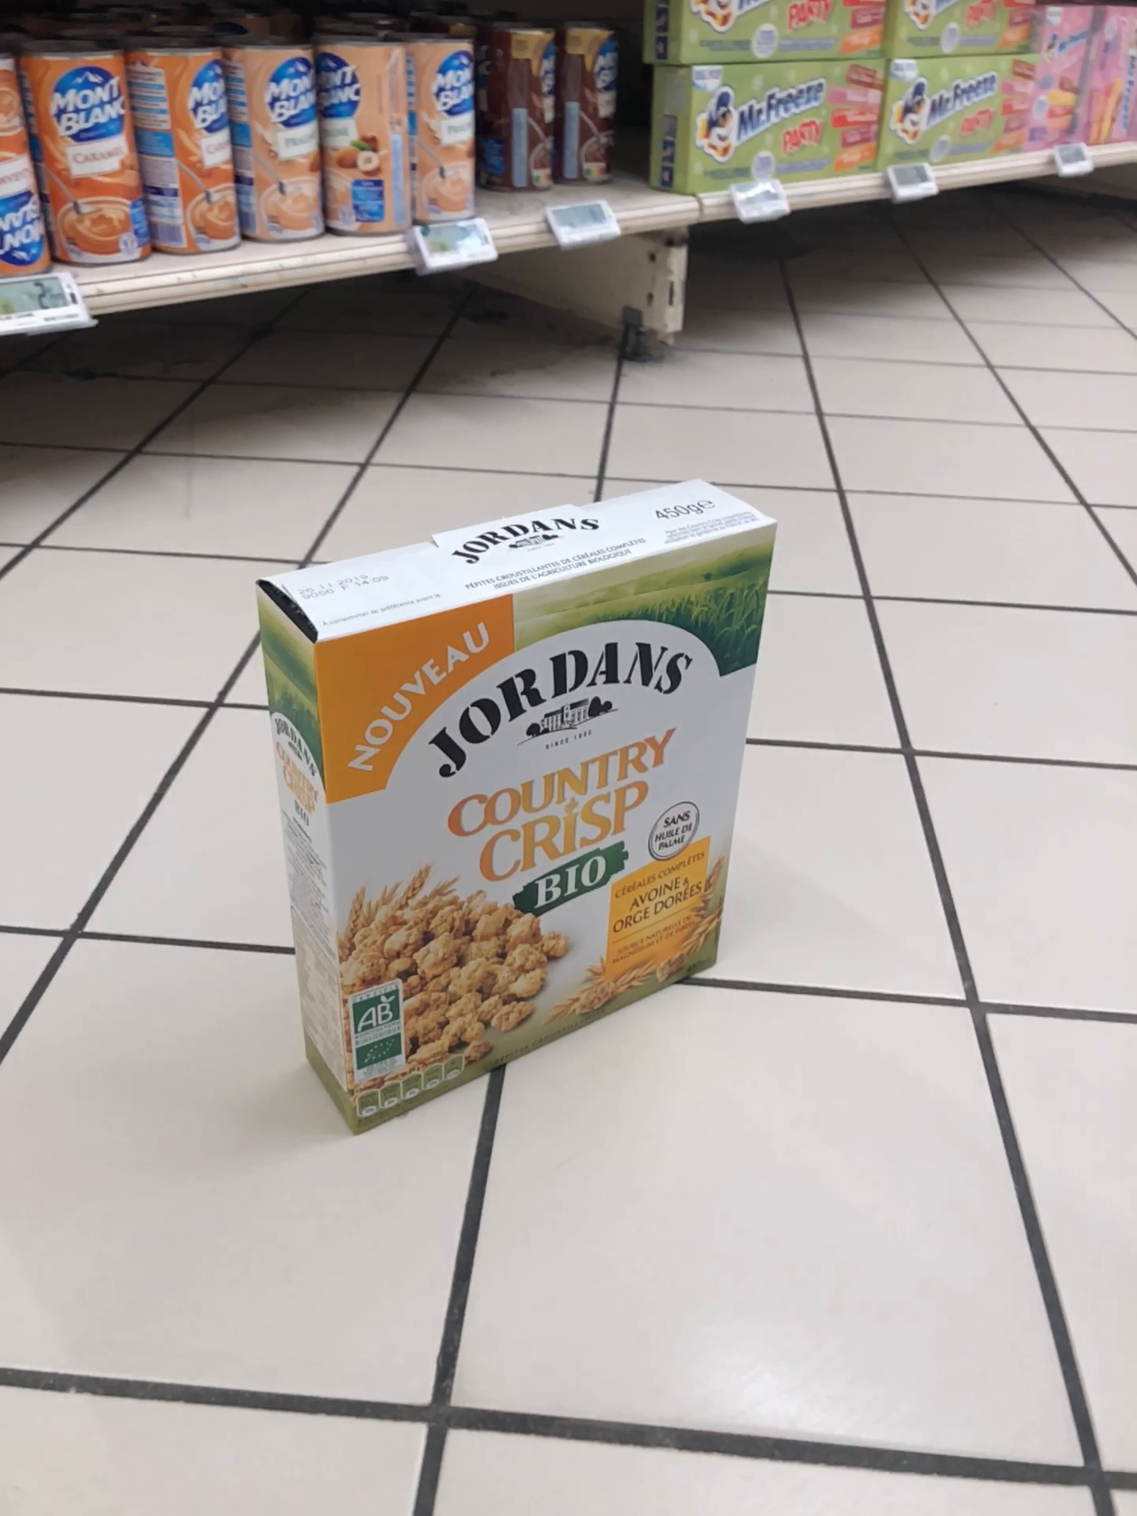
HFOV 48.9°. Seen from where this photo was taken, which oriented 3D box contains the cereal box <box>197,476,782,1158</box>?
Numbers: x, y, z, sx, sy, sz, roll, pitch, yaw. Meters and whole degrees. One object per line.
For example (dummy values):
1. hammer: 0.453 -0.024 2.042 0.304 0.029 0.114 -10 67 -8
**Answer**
1. cereal box: -0.024 0.019 0.473 0.191 0.209 0.060 -18 38 -29
